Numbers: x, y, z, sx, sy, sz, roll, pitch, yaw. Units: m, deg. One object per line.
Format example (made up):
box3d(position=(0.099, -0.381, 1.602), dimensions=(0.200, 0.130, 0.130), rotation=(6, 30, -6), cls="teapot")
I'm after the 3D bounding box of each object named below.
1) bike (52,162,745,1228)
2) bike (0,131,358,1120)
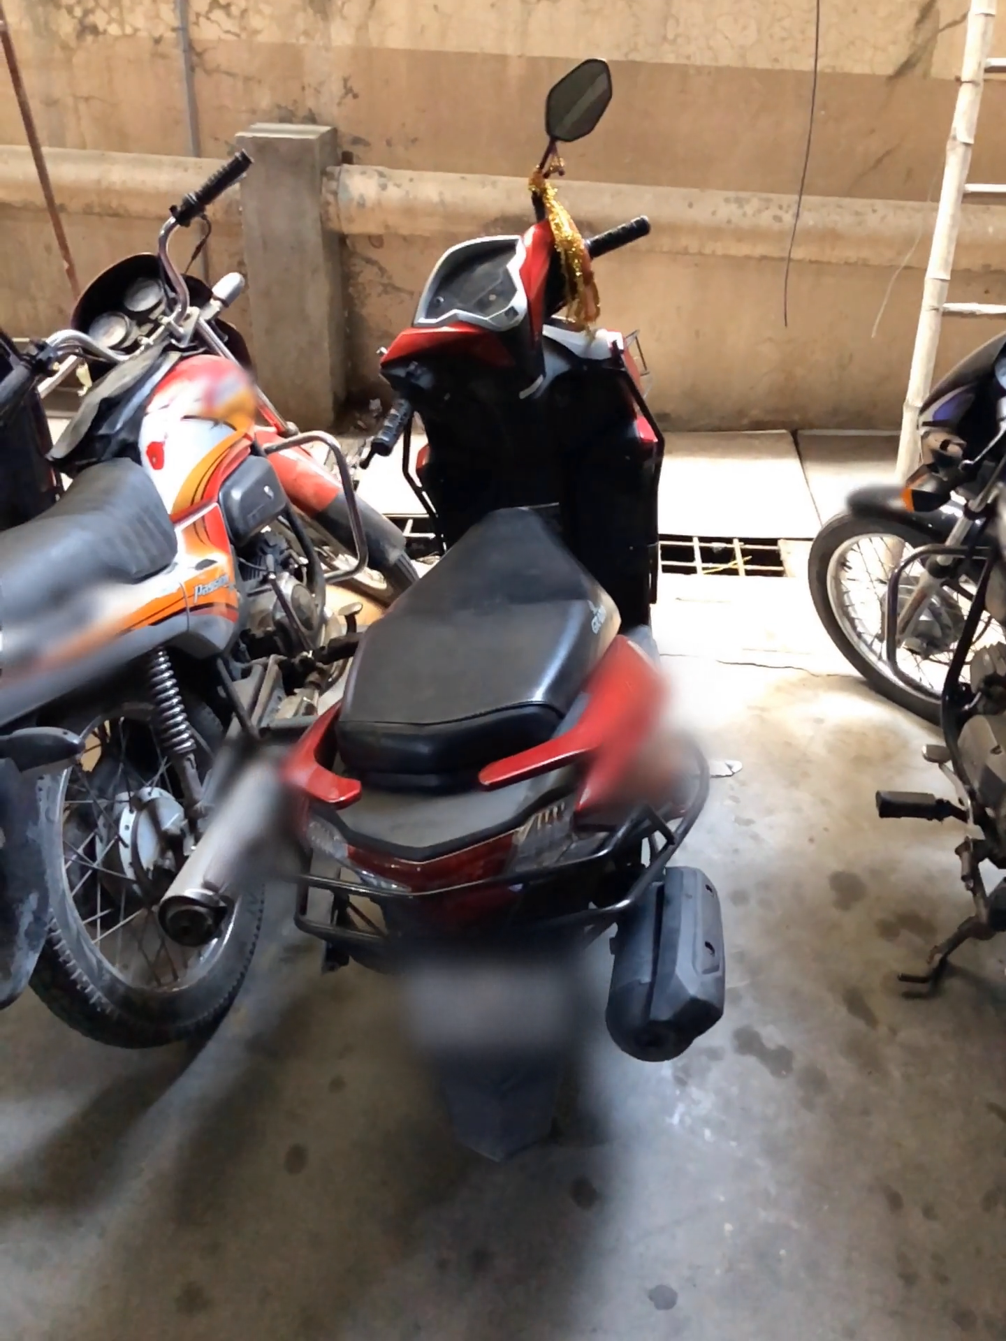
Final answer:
box3d(position=(-0.098, -0.092, 1.904), dimensions=(0.630, 1.139, 1.446), rotation=(3, 35, 0), cls="bike")
box3d(position=(-0.818, -0.266, 2.042), dimensions=(0.838, 1.089, 1.658), rotation=(3, 33, 1), cls="bike")
